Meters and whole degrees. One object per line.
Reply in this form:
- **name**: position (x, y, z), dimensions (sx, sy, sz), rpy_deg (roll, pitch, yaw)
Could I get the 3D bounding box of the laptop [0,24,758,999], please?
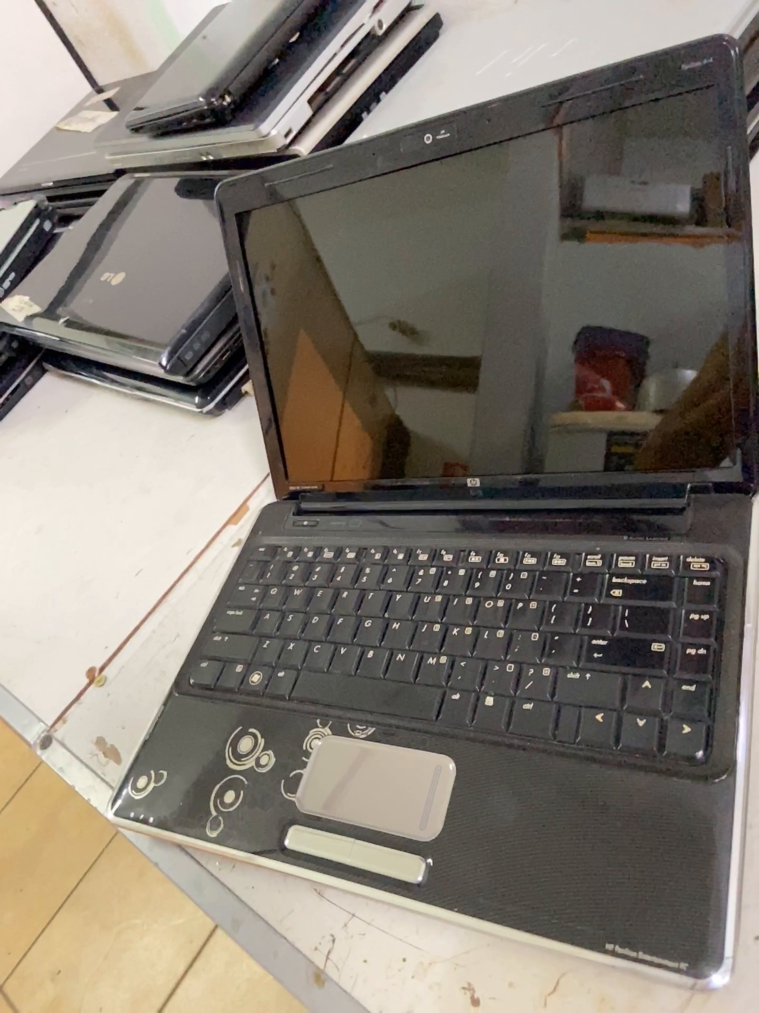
- **laptop**: position (0.005, -0.023, 0.408), dimensions (0.331, 0.176, 0.373), rpy_deg (-1, 50, 32)
